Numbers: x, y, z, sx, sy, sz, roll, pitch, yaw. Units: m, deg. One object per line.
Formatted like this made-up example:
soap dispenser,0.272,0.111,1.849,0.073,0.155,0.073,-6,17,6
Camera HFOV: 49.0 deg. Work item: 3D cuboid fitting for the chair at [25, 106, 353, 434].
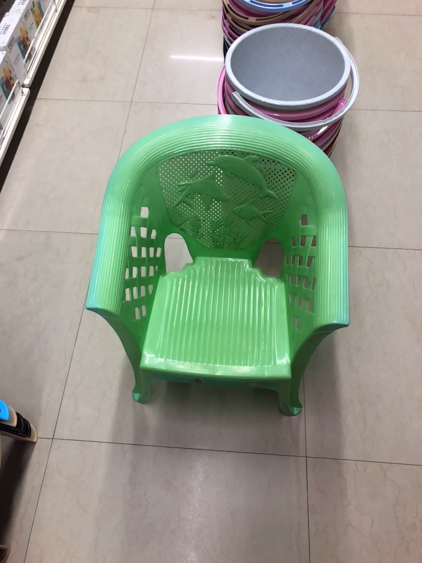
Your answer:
chair,-0.010,-0.007,0.892,0.430,0.398,0.472,3,60,4
